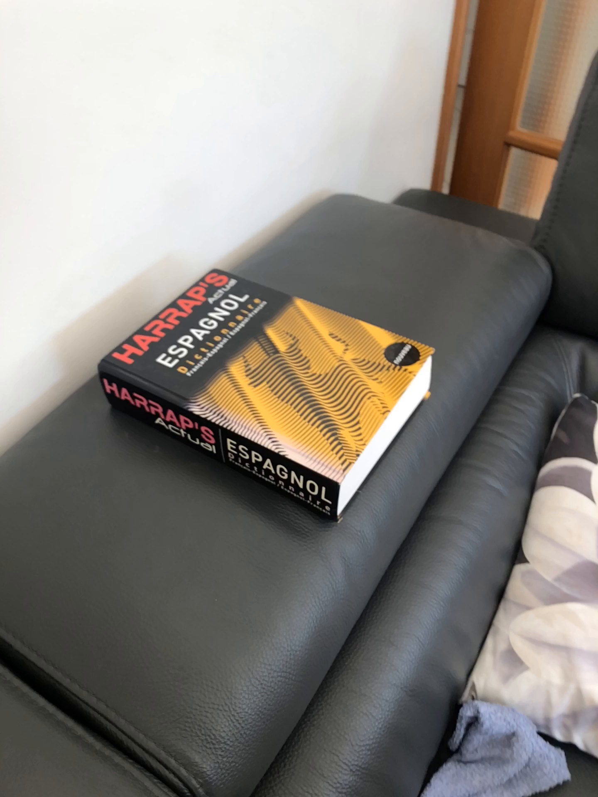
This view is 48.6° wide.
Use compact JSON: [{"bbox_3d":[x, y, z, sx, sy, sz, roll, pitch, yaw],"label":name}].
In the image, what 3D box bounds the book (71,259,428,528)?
[{"bbox_3d":[-0.042,-0.021,0.610,0.260,0.050,0.186,24,51,21],"label":"book"}]
